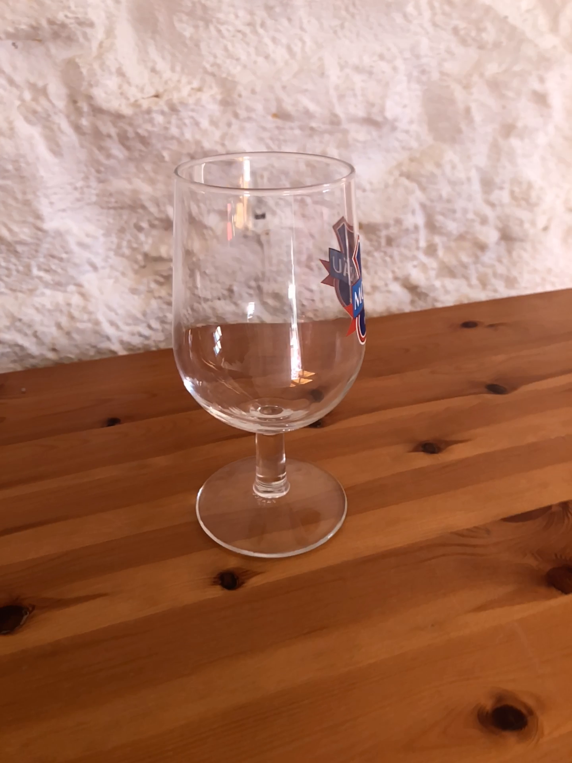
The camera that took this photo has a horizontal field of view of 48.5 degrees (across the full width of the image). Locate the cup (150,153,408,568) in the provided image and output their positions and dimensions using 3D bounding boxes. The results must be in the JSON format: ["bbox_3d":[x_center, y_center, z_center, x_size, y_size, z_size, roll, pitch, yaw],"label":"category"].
[{"bbox_3d":[-0.005,-0.011,0.255,0.077,0.142,0.079,0,27,0],"label":"cup"}]
